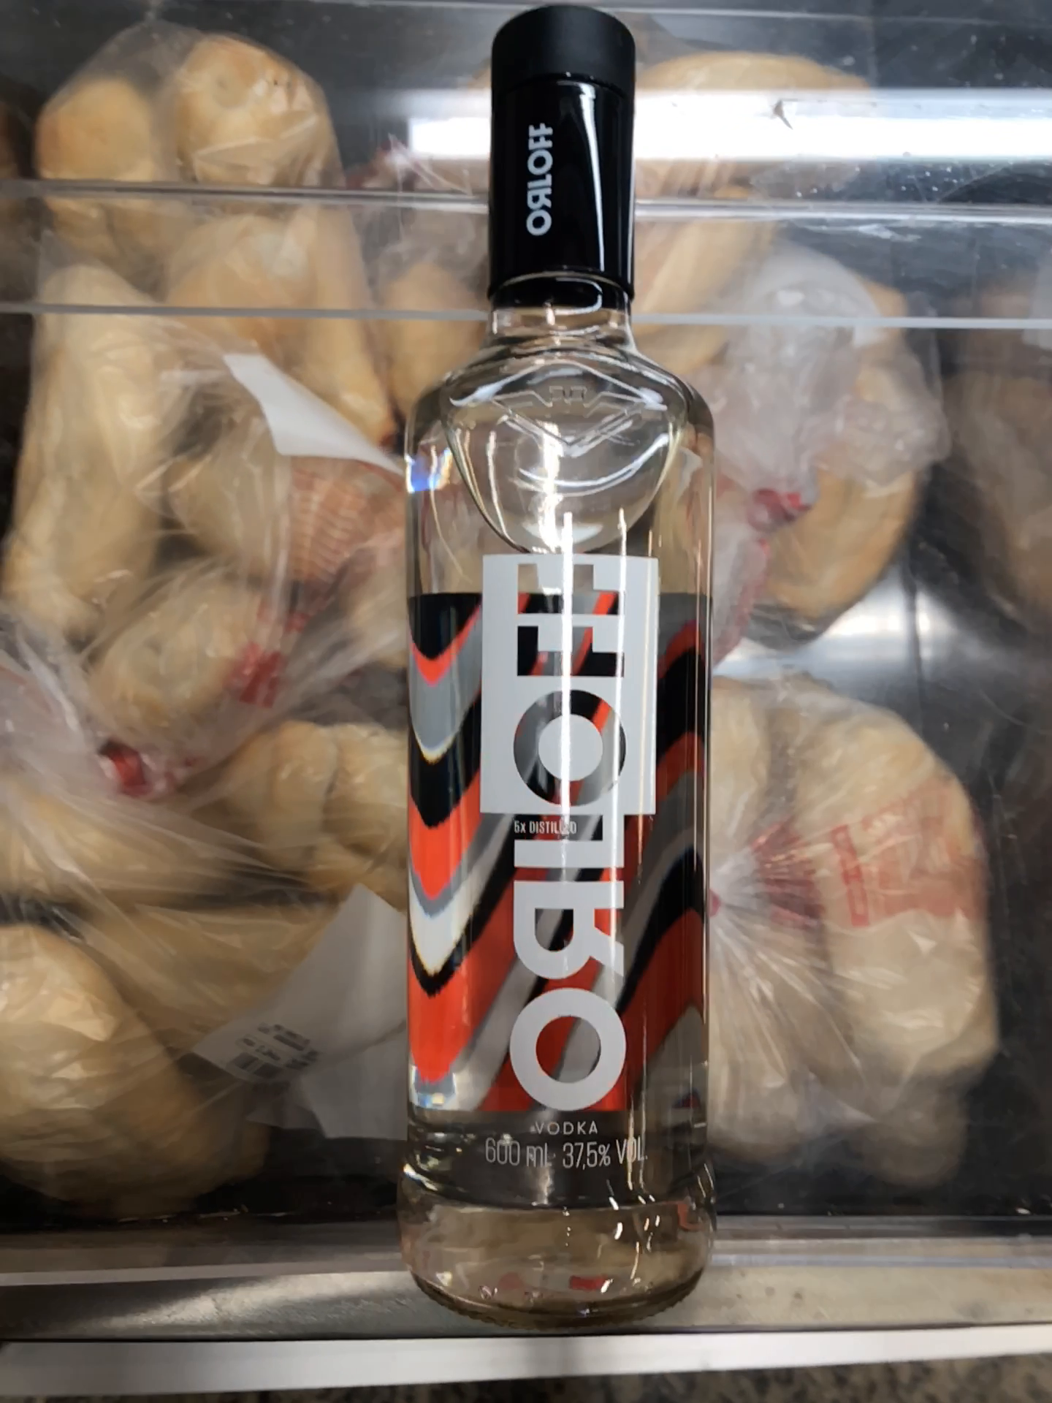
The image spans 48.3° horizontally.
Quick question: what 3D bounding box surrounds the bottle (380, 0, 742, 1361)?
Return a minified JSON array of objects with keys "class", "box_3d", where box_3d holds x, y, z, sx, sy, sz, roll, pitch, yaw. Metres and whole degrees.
[{"class":"bottle","box_3d":[0.007,-0.020,0.269,0.070,0.070,0.300,1,88,-1]}]
